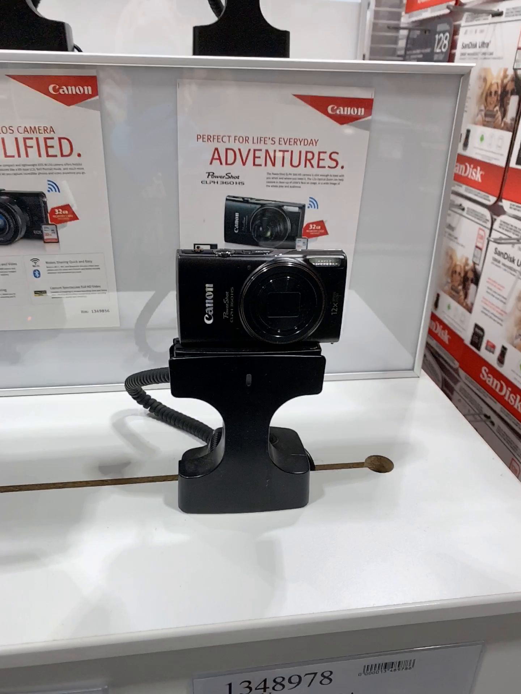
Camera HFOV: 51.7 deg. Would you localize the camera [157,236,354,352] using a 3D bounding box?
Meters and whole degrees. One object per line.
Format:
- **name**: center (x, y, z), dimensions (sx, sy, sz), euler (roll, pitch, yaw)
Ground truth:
- **camera**: center (-0.004, -0.034, 0.330), dimensions (0.110, 0.060, 0.040), euler (-1, 24, -6)
